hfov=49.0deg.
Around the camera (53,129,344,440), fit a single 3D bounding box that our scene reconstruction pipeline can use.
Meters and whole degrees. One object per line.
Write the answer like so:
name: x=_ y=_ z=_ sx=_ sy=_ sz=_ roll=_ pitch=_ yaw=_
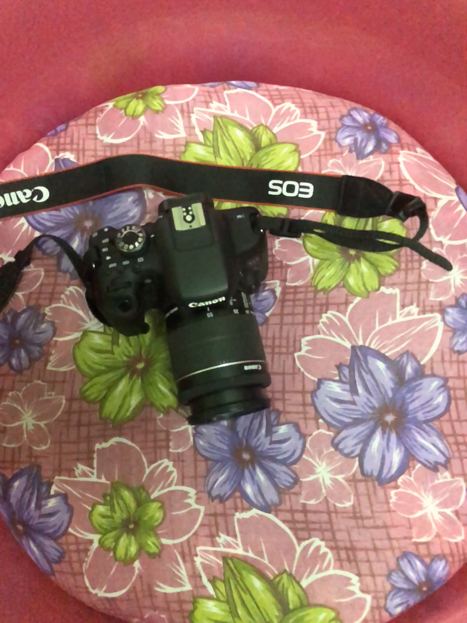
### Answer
camera: x=-0.024 y=-0.011 z=0.342 sx=0.140 sy=0.100 sz=0.160 roll=-11 pitch=78 yaw=-3
